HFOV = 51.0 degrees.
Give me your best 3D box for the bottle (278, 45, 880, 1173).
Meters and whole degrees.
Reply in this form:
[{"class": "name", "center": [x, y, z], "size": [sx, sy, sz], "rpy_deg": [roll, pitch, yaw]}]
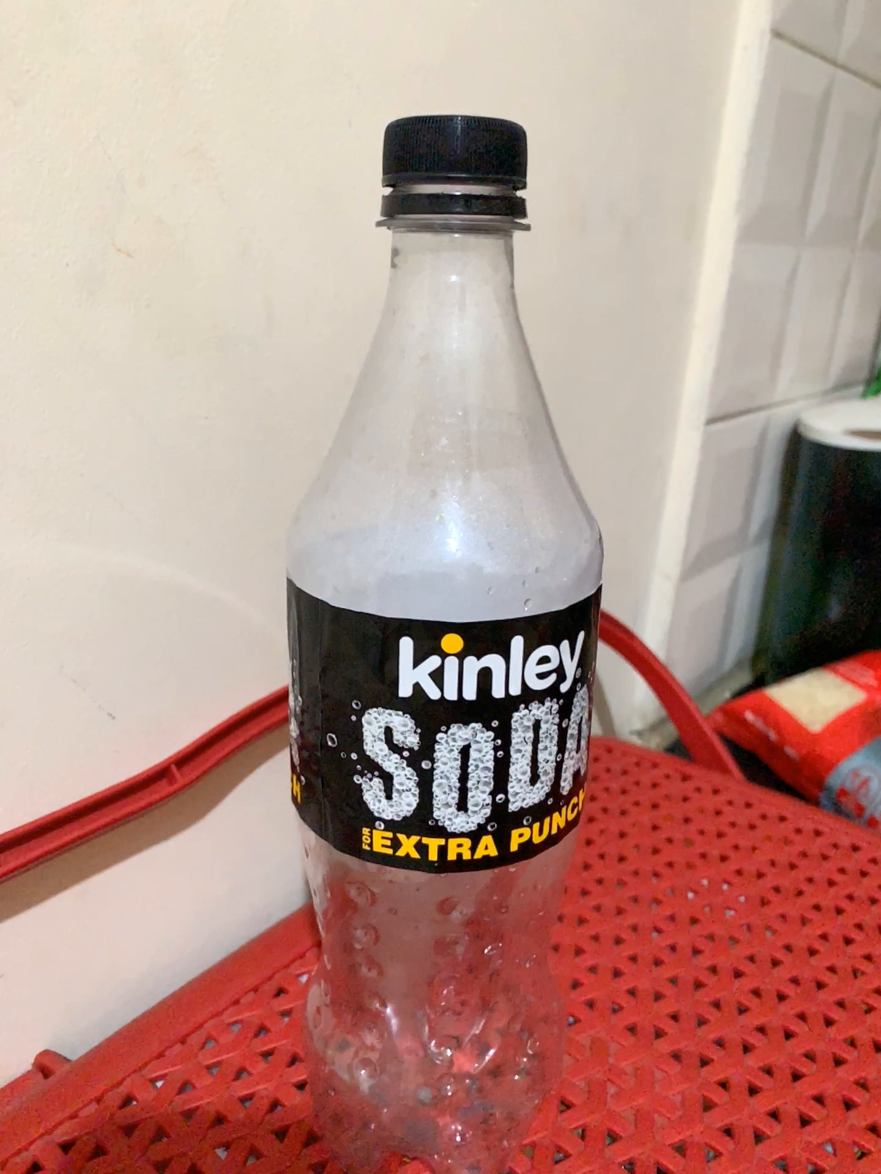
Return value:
[{"class": "bottle", "center": [0.013, 0.024, 0.198], "size": [0.080, 0.228, 0.070], "rpy_deg": [-5, 22, -20]}]
